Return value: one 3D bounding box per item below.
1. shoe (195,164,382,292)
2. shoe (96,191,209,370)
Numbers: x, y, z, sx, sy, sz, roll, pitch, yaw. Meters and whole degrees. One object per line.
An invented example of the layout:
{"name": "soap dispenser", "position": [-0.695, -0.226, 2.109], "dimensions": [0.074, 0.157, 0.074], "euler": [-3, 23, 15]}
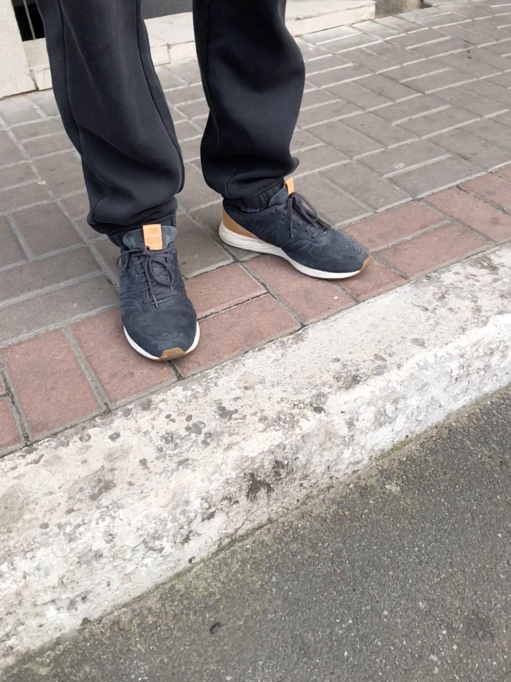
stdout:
{"name": "shoe", "position": [0.050, -0.193, 0.923], "dimensions": [0.281, 0.109, 0.105], "euler": [21, 46, 25]}
{"name": "shoe", "position": [-0.157, -0.102, 0.822], "dimensions": [0.104, 0.109, 0.282], "euler": [-13, 42, -11]}
